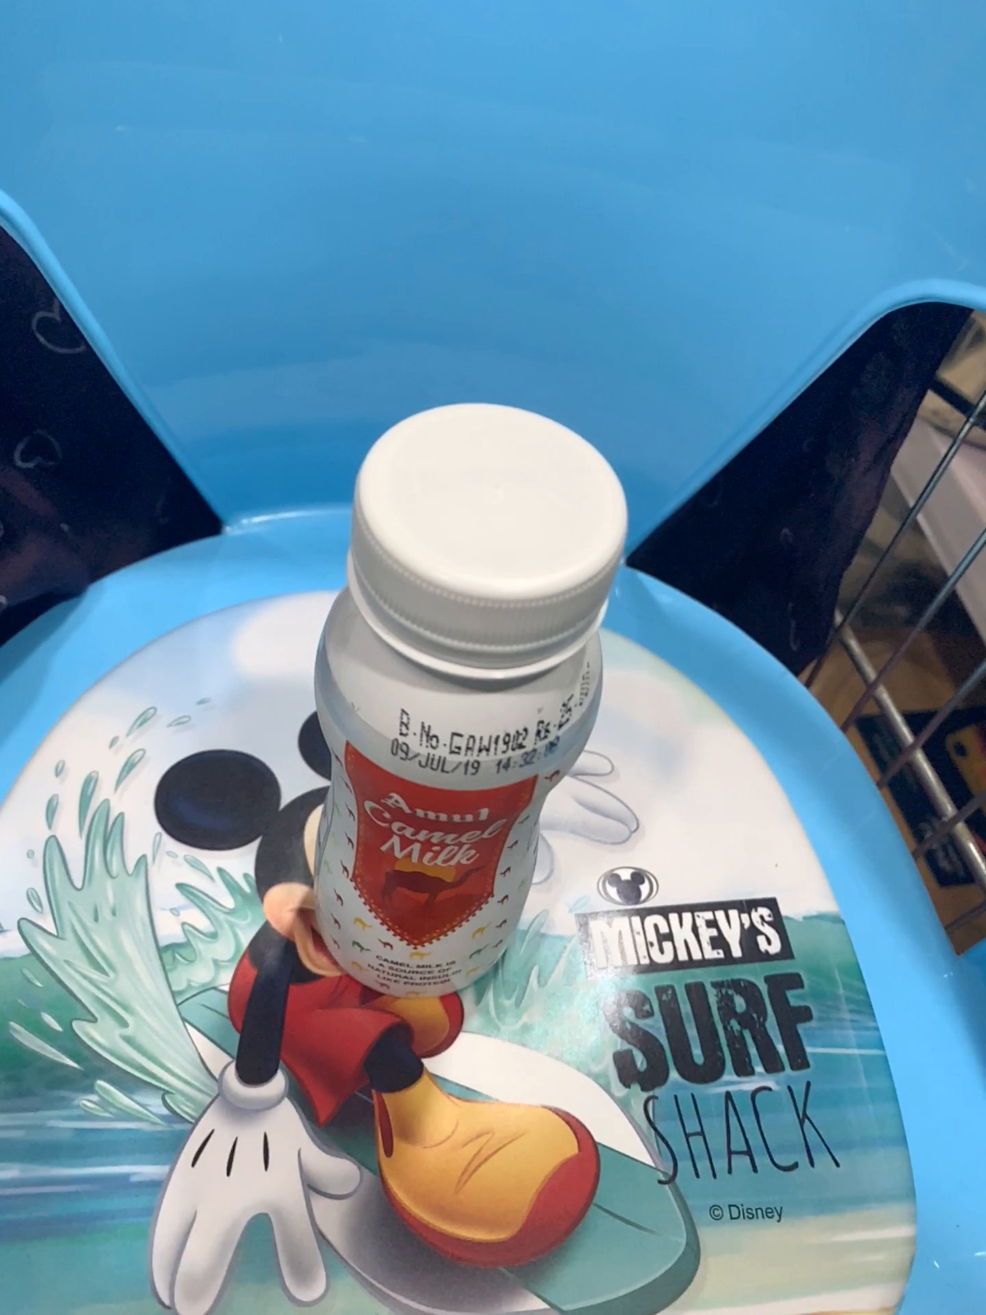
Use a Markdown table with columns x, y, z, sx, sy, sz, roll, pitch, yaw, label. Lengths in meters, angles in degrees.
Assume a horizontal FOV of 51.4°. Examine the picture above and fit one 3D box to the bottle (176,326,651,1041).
| x | y | z | sx | sy | sz | roll | pitch | yaw | label |
| --- | --- | --- | --- | --- | --- | --- | --- | --- | --- |
| -0.015 | 0.015 | 0.197 | 0.060 | 0.130 | 0.060 | 4 | 48 | -5 | bottle |
